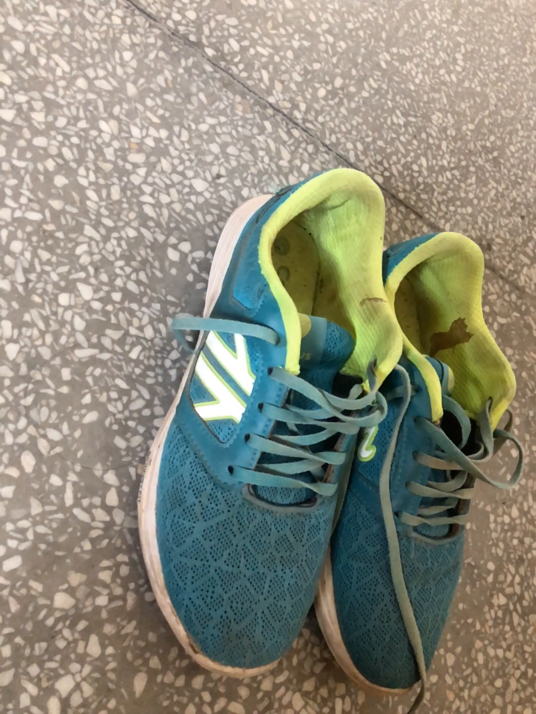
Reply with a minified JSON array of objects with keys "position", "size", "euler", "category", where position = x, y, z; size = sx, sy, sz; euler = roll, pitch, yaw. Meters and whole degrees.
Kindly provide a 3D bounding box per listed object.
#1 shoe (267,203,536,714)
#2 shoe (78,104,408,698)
[{"position":[0.074,0.052,0.320],"size":[0.095,0.088,0.229],"euler":[16,70,-27],"category":"shoe"},{"position":[-0.007,0.020,0.282],"size":[0.091,0.091,0.230],"euler":[18,69,-27],"category":"shoe"}]
